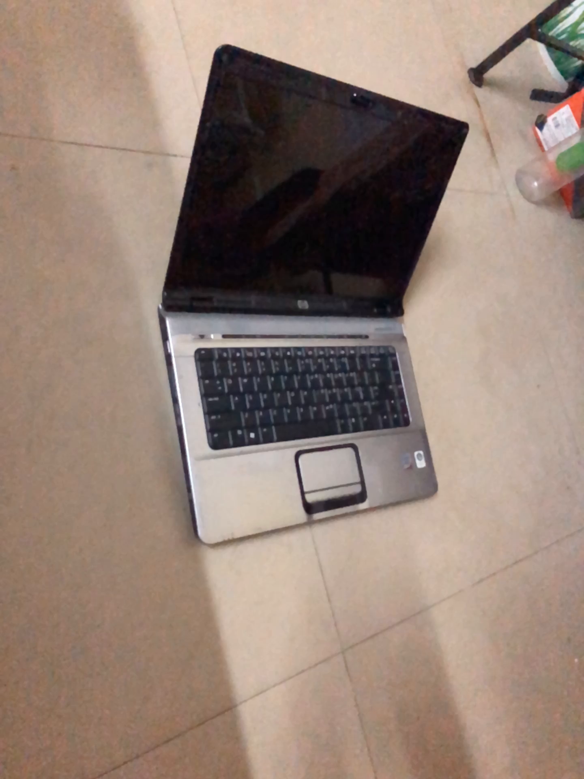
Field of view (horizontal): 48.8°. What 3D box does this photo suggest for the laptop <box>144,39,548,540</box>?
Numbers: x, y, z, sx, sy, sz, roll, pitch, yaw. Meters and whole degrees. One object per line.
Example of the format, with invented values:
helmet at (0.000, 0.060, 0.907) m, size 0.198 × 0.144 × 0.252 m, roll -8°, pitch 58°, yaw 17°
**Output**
laptop at (0.060, -0.085, 0.687) m, size 0.339 × 0.166 × 0.409 m, roll -3°, pitch 79°, yaw -38°
